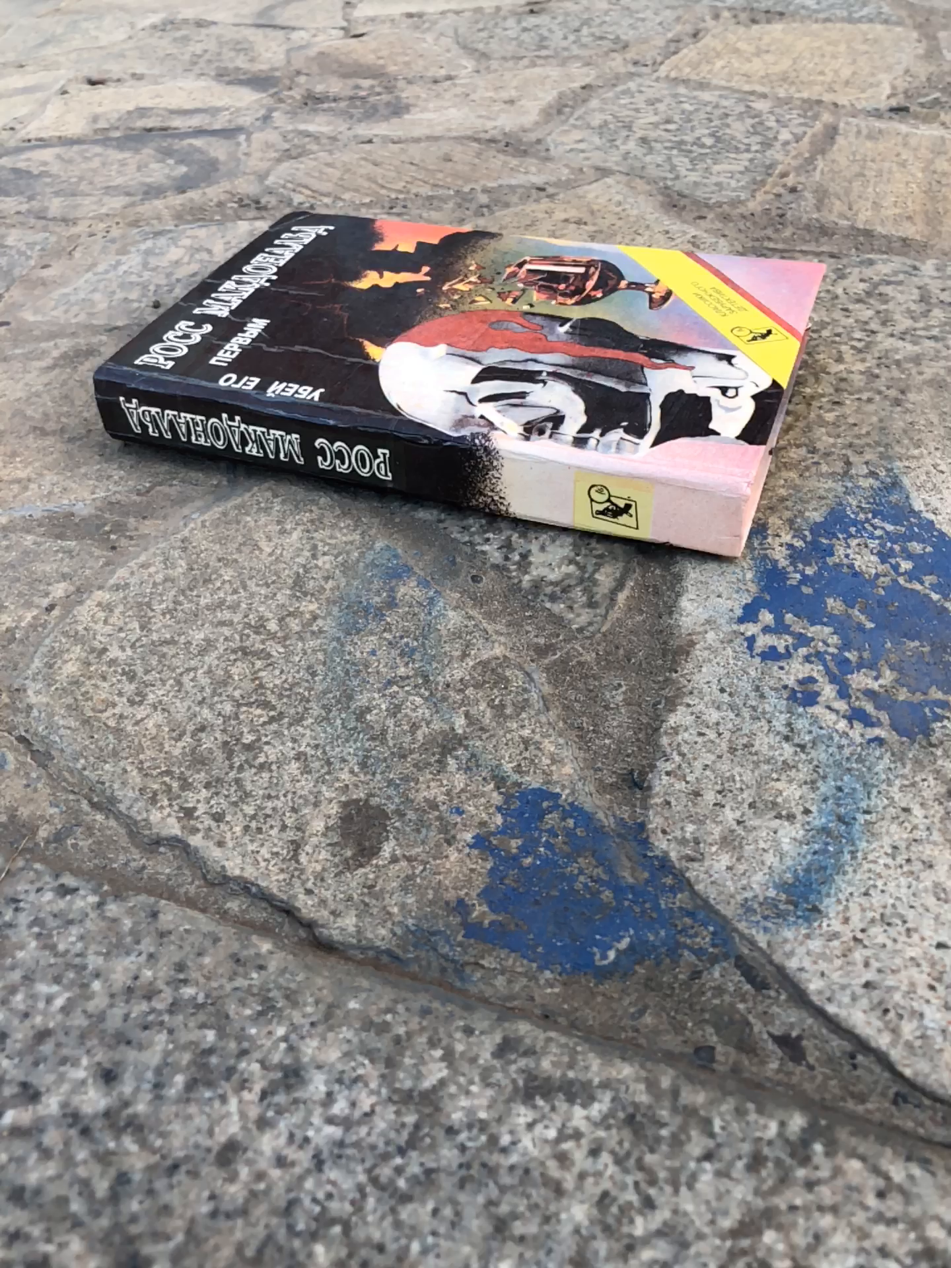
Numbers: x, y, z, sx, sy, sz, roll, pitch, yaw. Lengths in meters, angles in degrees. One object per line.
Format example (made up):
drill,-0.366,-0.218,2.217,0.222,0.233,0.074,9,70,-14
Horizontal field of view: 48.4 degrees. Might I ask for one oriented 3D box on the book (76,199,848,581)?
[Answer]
book,0.003,-0.092,0.347,0.210,0.030,0.141,12,45,17
